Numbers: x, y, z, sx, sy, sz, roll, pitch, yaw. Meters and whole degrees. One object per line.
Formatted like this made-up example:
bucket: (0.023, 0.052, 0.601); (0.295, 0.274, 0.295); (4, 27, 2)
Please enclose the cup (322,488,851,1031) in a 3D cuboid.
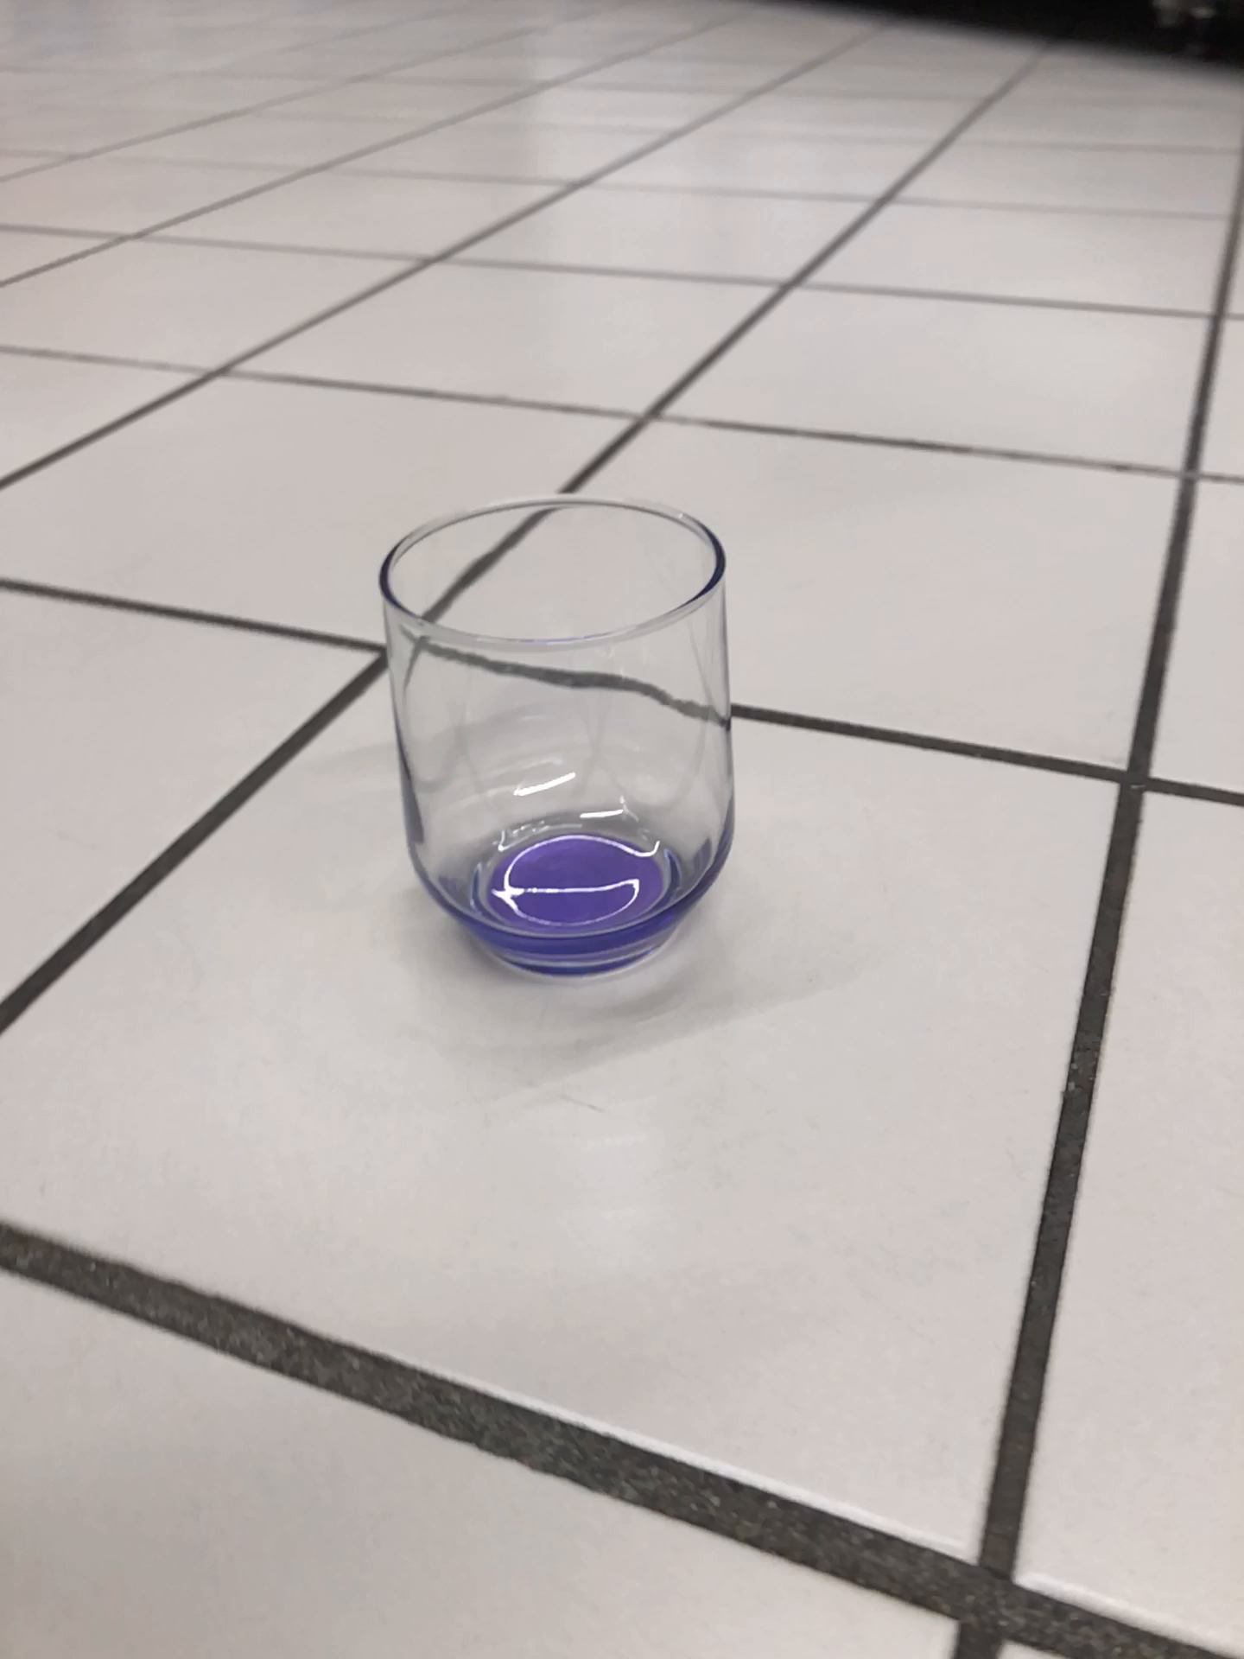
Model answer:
cup: (-0.007, -0.018, 0.272); (0.071, 0.063, 0.069); (-1, 35, 1)
